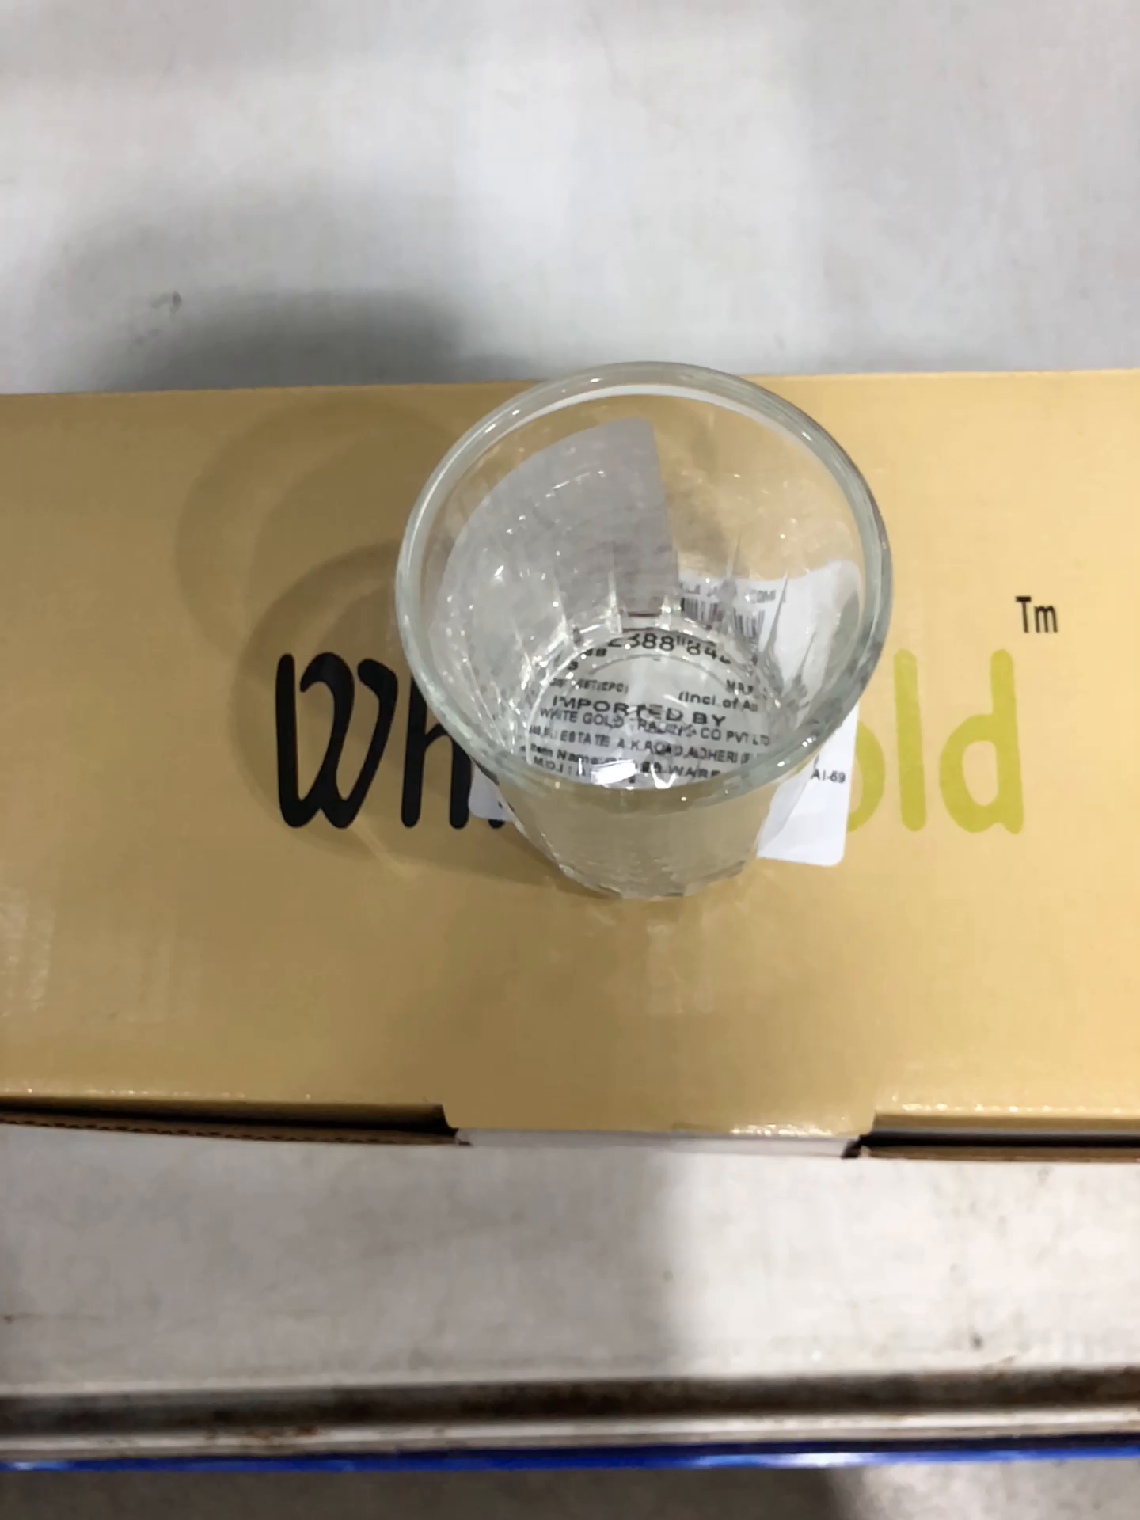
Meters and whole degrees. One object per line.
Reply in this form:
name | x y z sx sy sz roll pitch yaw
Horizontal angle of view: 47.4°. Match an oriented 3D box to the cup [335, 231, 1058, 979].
cup | 0.011 -0.010 0.139 0.050 0.060 0.050 -1 74 5
